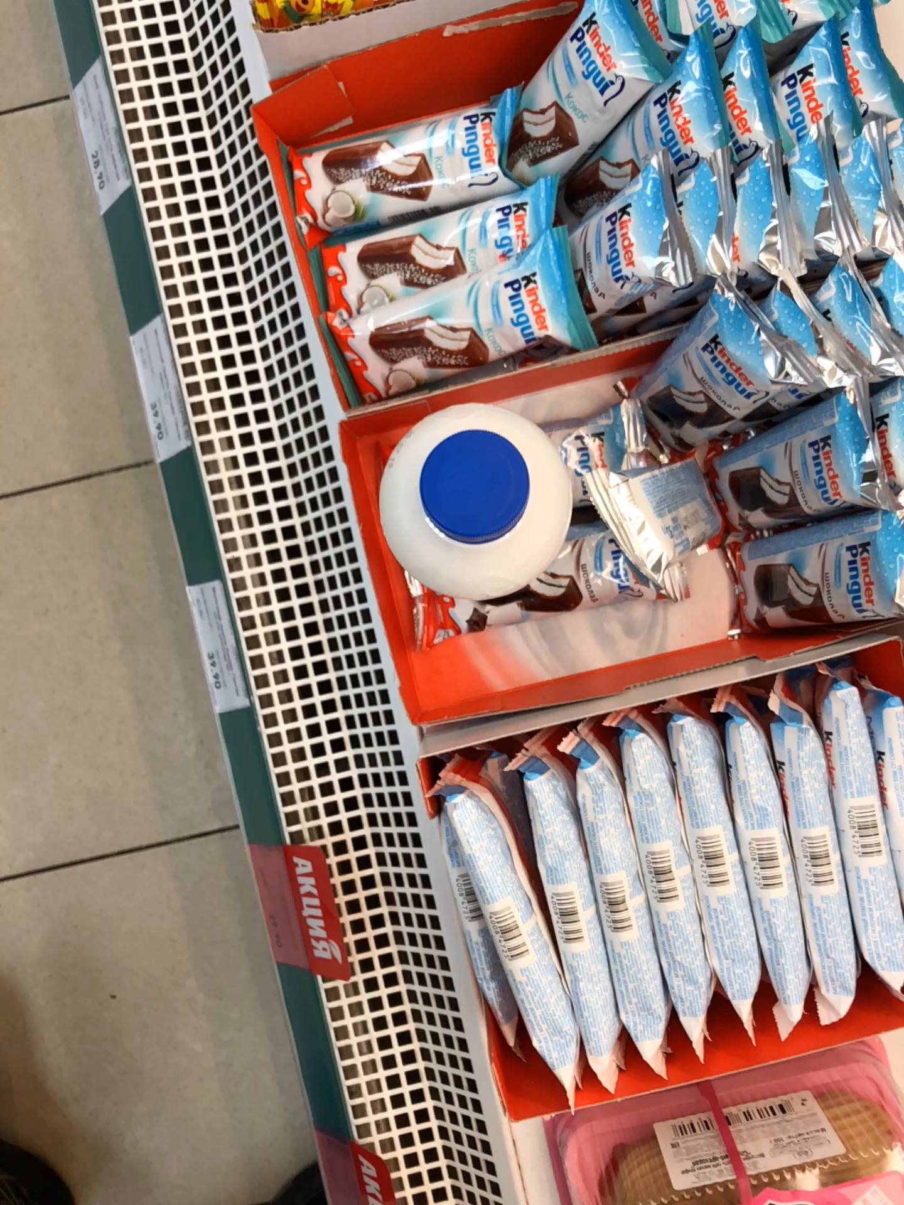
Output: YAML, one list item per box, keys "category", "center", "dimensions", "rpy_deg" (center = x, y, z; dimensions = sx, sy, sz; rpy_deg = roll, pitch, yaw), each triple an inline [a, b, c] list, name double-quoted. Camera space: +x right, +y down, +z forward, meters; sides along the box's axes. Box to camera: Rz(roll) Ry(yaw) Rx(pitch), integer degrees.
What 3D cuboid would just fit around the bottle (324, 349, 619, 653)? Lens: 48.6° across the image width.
- category: "bottle"
  center: [0.008, -0.028, 0.369]
  dimensions: [0.059, 0.204, 0.064]
  rpy_deg: [0, 90, 2]
